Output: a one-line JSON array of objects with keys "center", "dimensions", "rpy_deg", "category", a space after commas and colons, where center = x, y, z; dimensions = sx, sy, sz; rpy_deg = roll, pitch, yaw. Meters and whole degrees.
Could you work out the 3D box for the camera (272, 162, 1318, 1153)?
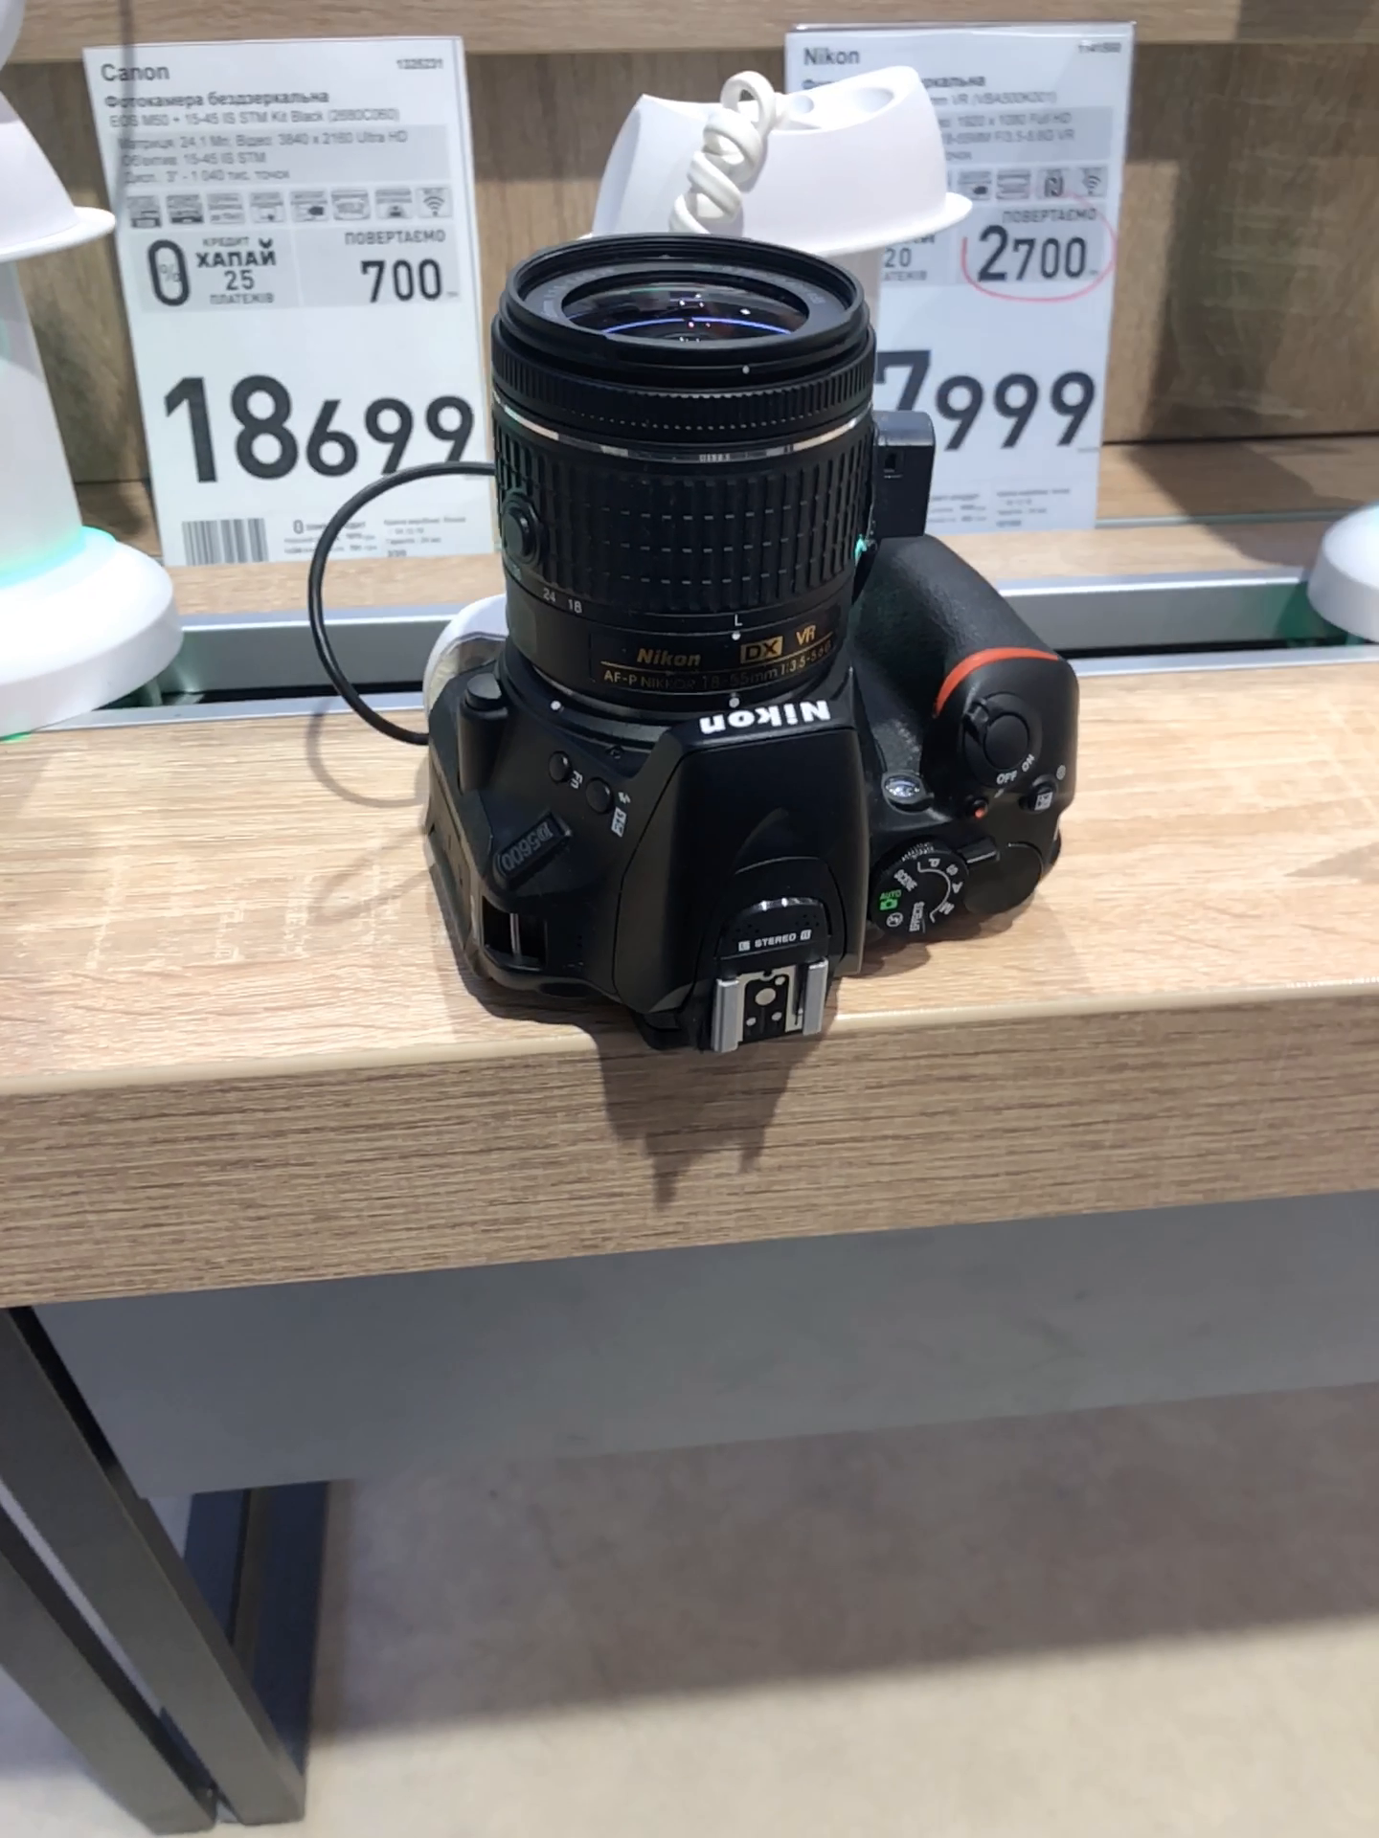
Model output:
[{"center": [0.008, -0.055, 0.281], "dimensions": [0.132, 0.117, 0.116], "rpy_deg": [-13, 42, -15], "category": "camera"}]
